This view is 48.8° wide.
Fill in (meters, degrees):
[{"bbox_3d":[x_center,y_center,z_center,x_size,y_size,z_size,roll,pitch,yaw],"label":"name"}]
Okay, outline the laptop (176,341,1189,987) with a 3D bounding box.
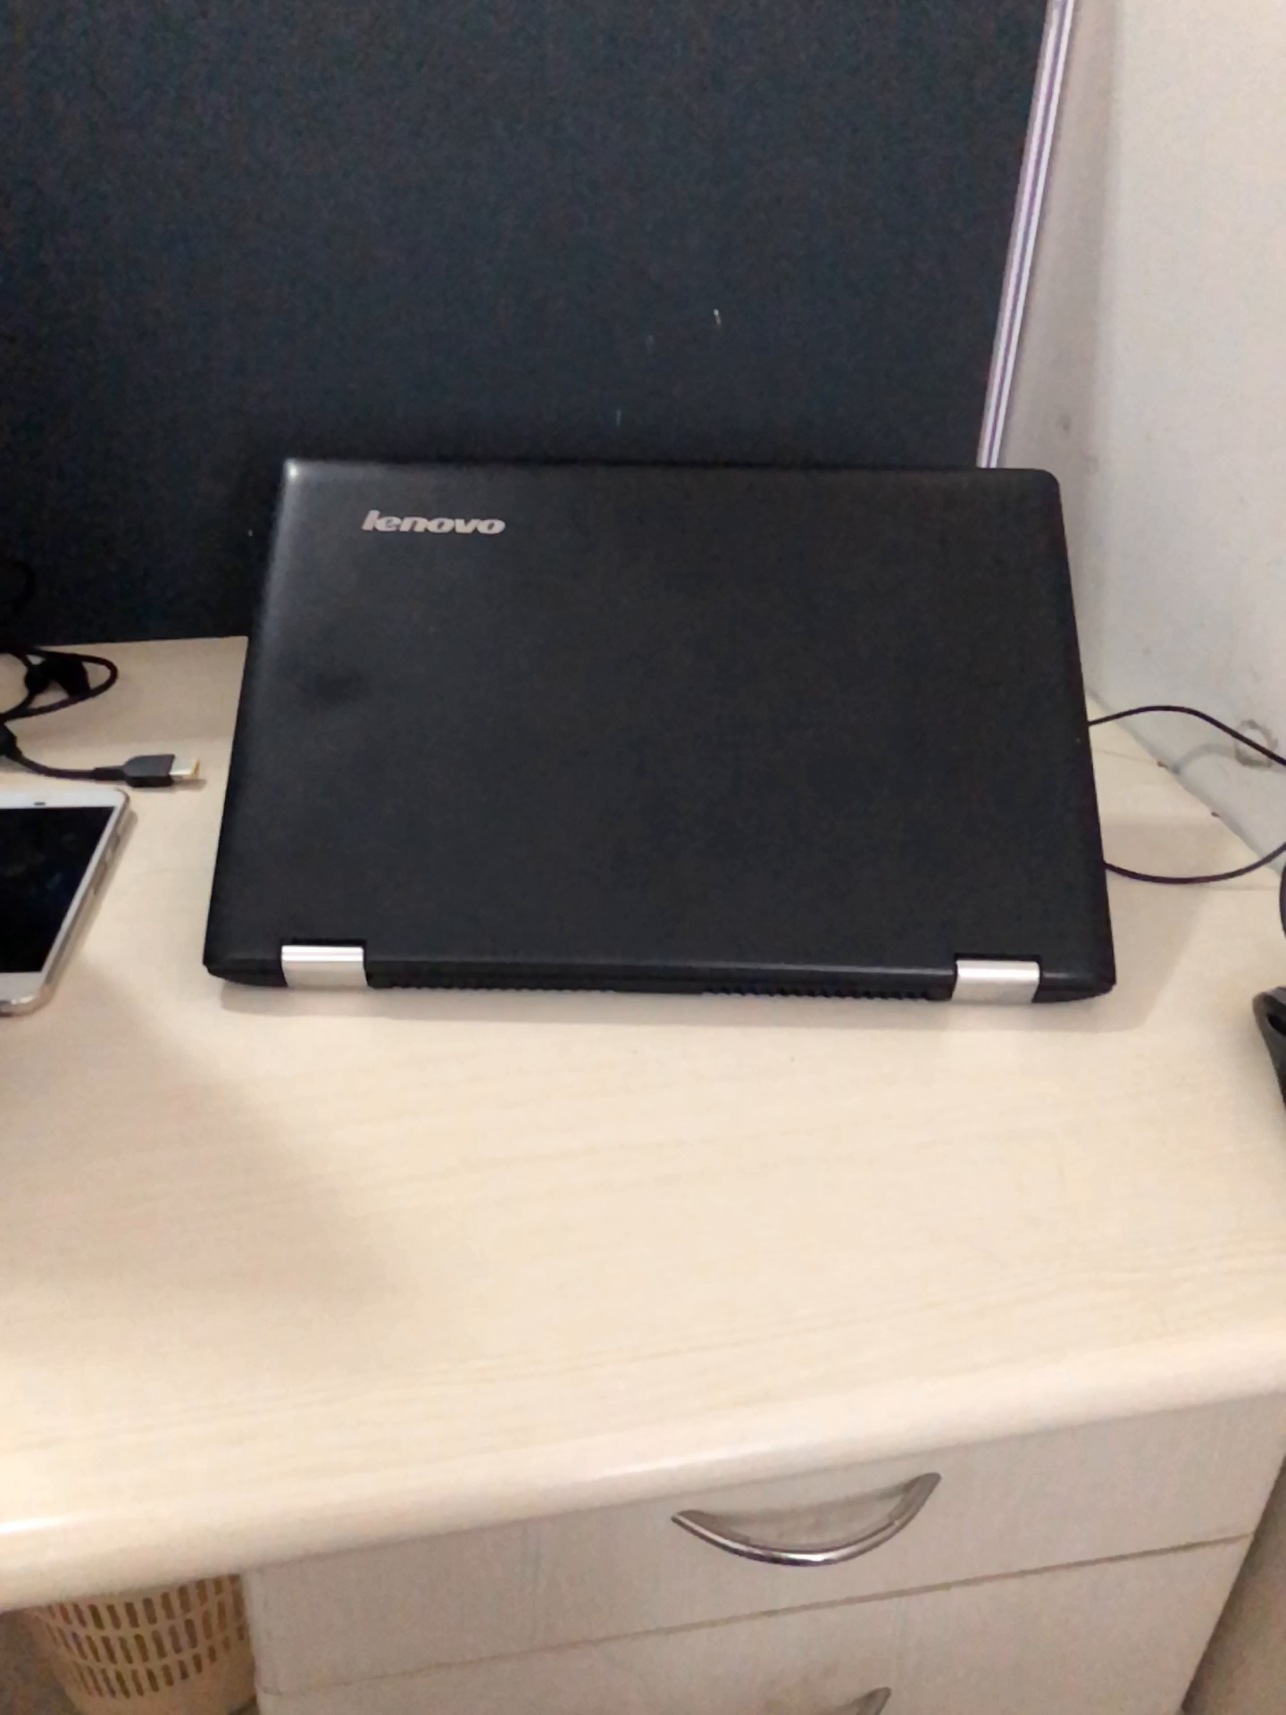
[{"bbox_3d":[0.011,-0.086,0.567,0.324,0.142,0.206,2,38,0],"label":"laptop"}]
